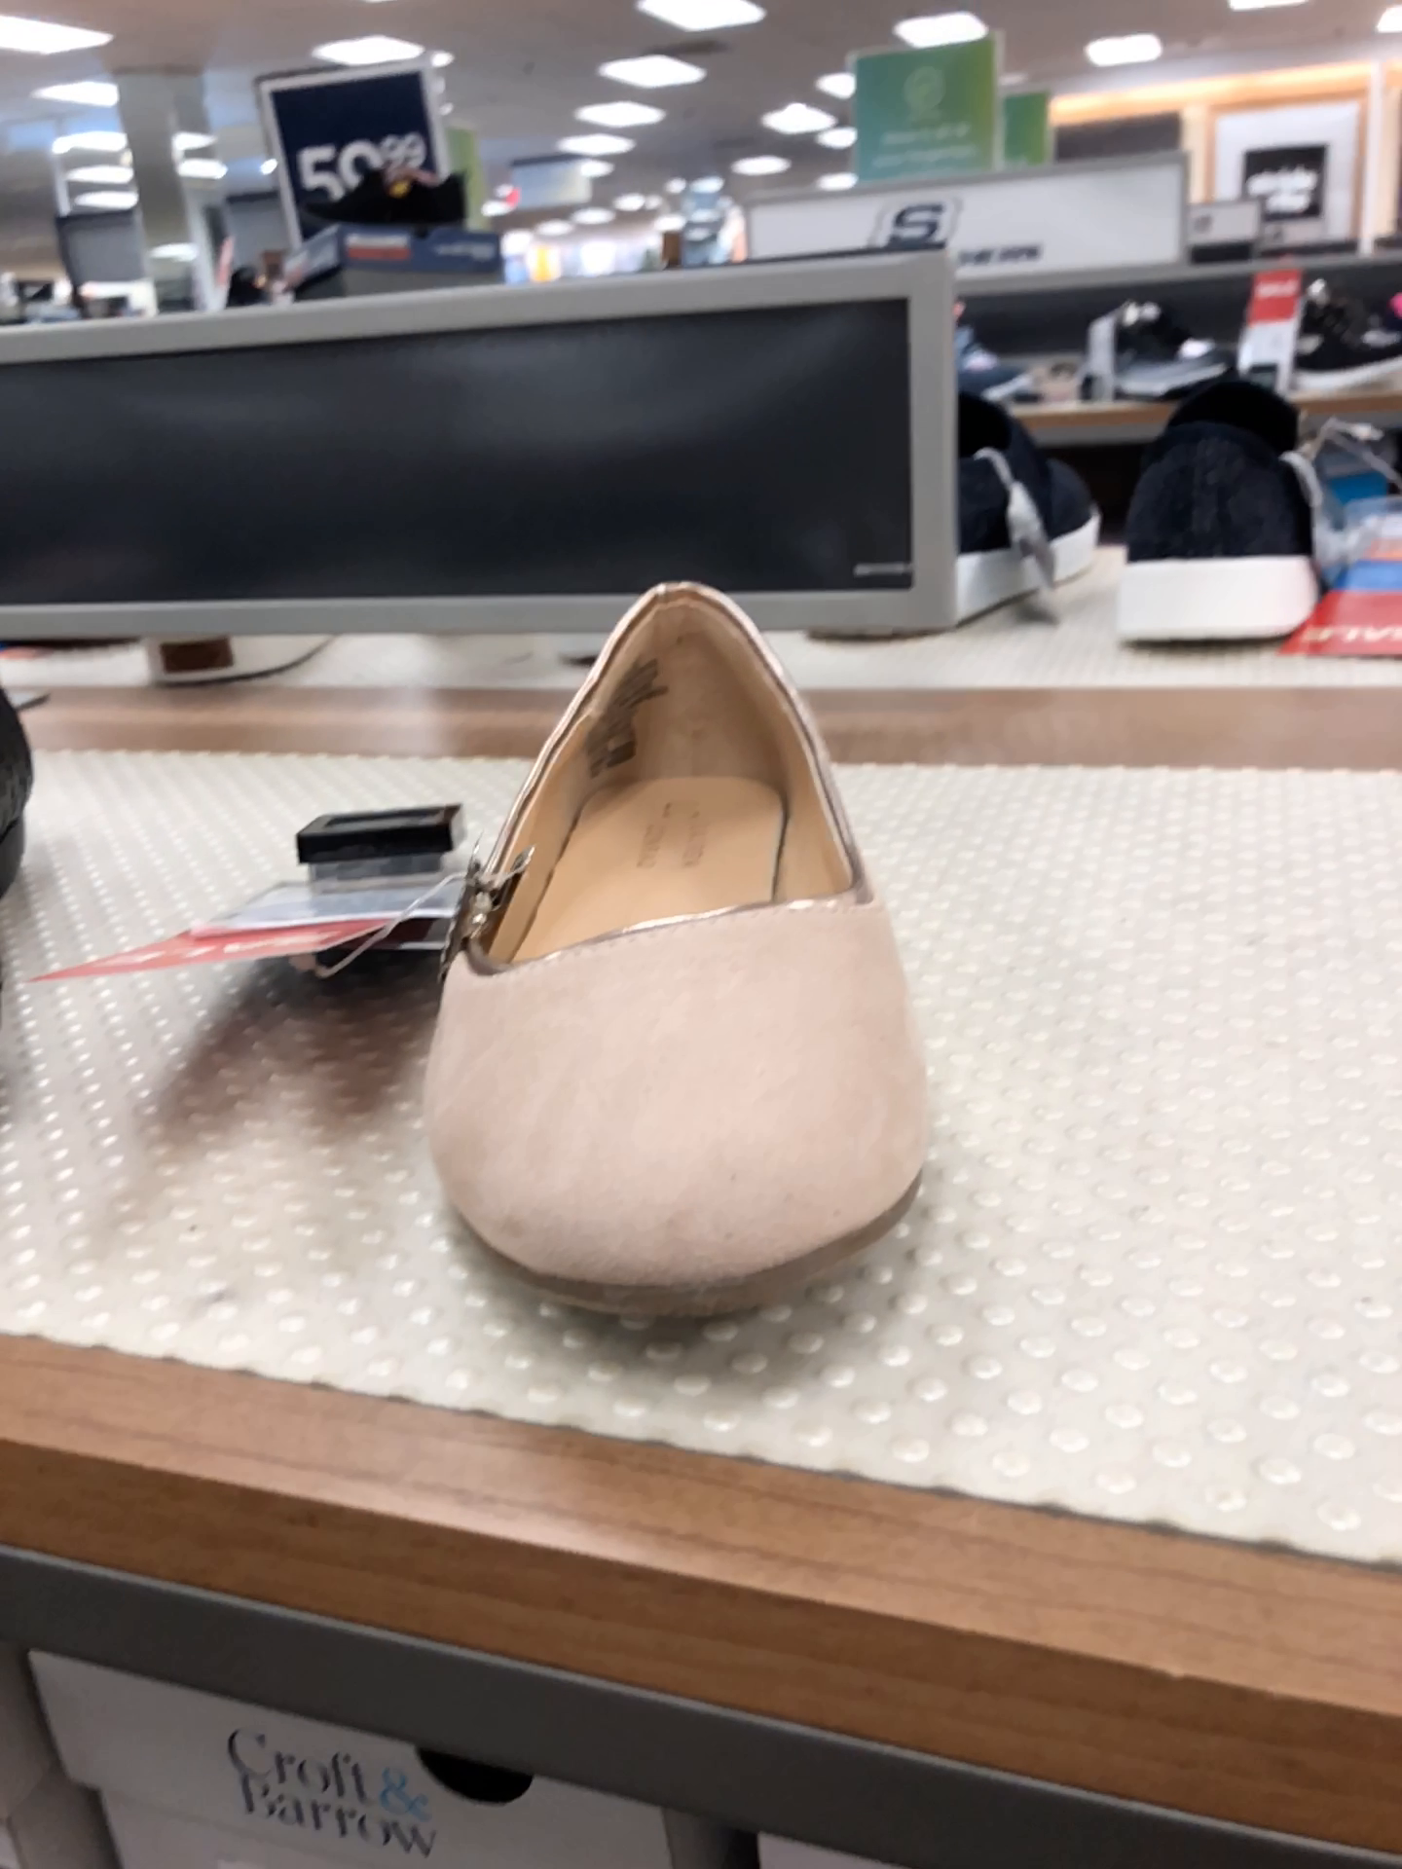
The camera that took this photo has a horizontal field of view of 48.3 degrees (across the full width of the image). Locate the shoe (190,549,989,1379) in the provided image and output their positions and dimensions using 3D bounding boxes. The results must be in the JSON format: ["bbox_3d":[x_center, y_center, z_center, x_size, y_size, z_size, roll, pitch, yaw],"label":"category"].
[{"bbox_3d":[-0.009,-0.019,0.284,0.085,0.064,0.229,-4,21,2],"label":"shoe"}]
